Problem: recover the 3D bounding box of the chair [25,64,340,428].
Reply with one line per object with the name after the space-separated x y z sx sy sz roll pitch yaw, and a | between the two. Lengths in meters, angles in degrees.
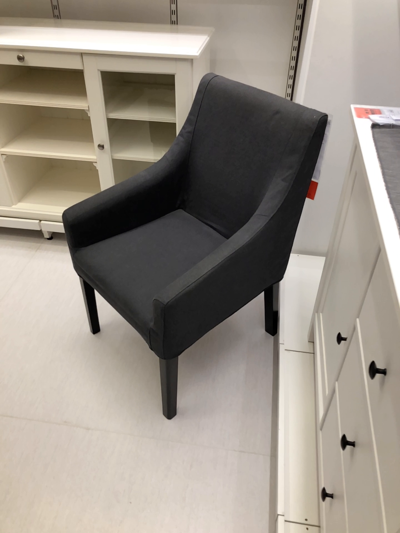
-0.066 -0.095 1.488 0.621 0.884 0.613 -26 46 -30 | chair
